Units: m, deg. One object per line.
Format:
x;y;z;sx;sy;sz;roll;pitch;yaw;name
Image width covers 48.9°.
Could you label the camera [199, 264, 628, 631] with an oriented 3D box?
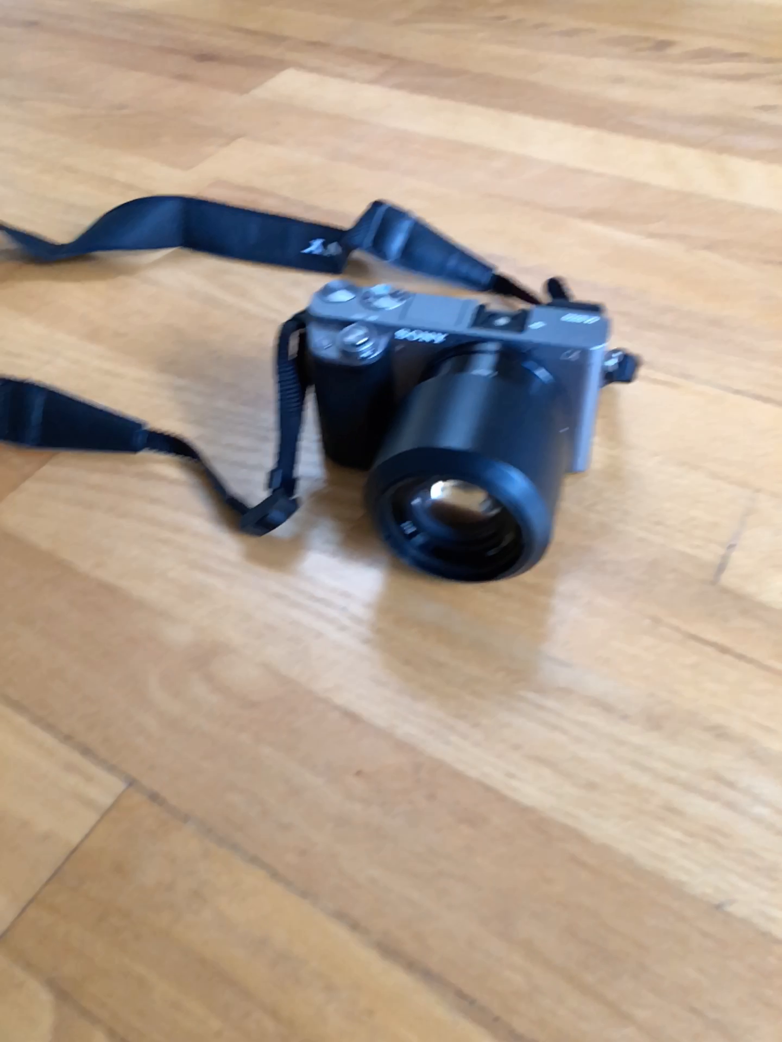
0.015;-0.034;0.343;0.136;0.079;0.107;9;47;12;camera
